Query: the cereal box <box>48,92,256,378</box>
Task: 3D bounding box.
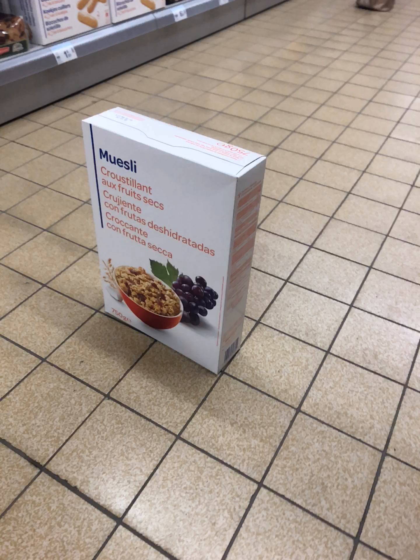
[{"bbox_3d":[-0.065,-0.043,0.516,0.200,0.268,0.060,25,44,24],"label":"cereal box"}]
